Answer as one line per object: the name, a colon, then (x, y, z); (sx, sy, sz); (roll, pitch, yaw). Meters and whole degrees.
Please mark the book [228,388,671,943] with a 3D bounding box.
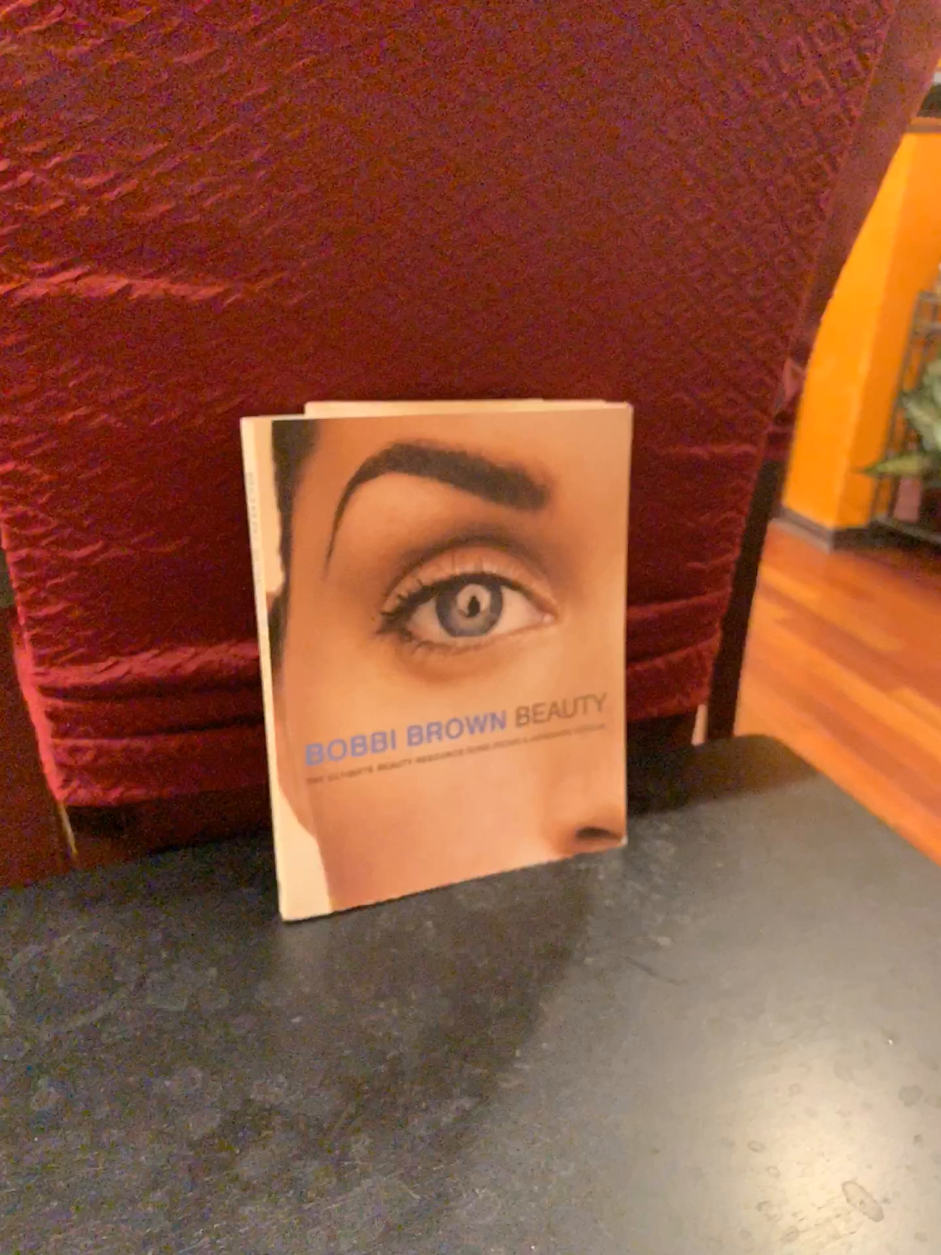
book: (-0.001, 0.012, 0.466); (0.200, 0.239, 0.030); (-7, 16, -21)
